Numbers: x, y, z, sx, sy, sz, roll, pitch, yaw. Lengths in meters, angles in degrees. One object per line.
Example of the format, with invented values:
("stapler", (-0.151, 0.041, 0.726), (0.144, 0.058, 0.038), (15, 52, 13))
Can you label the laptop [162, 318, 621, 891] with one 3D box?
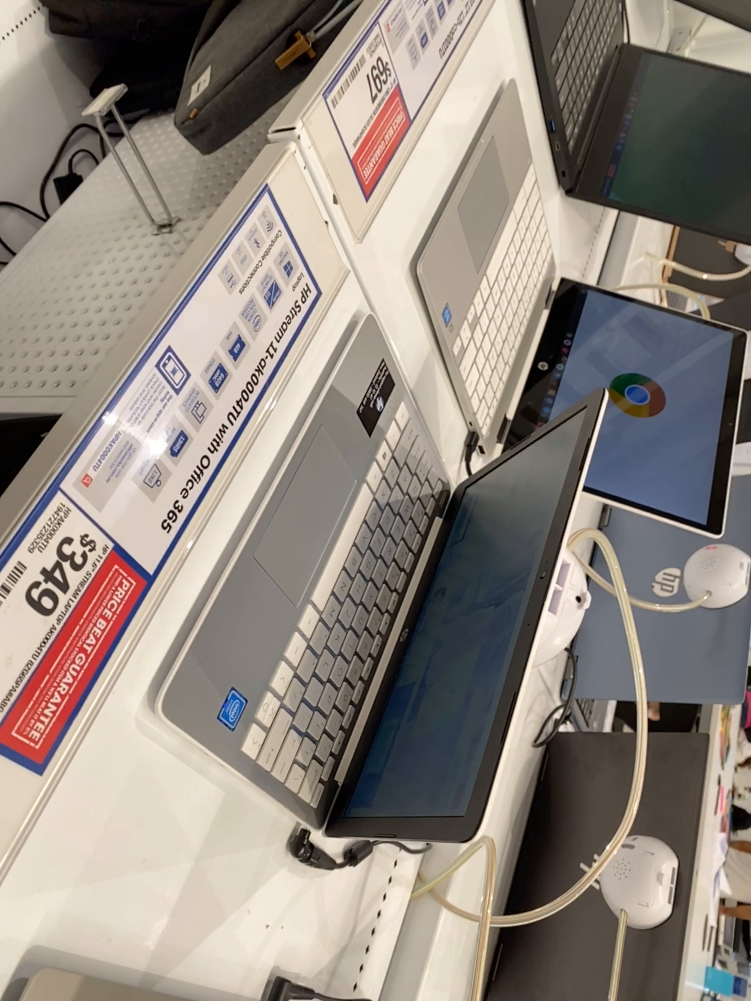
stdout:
("laptop", (0.041, 0.052, 0.472), (0.181, 0.138, 0.277), (60, 44, -44))

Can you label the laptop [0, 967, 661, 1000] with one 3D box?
("laptop", (-0.045, 0.412, 0.280), (0.276, 0.212, 0.327), (59, 45, -46))

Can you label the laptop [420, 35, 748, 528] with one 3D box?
("laptop", (0.209, -0.172, 0.679), (0.258, 0.189, 0.298), (-67, 147, -30))
